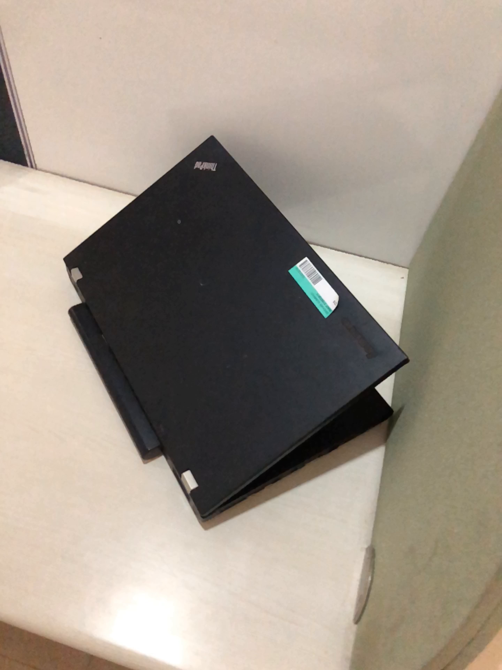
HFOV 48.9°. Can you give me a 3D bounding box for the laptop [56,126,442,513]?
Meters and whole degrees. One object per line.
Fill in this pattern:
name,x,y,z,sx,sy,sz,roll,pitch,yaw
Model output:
laptop,-0.026,-0.041,0.600,0.232,0.140,0.355,-24,59,-20
